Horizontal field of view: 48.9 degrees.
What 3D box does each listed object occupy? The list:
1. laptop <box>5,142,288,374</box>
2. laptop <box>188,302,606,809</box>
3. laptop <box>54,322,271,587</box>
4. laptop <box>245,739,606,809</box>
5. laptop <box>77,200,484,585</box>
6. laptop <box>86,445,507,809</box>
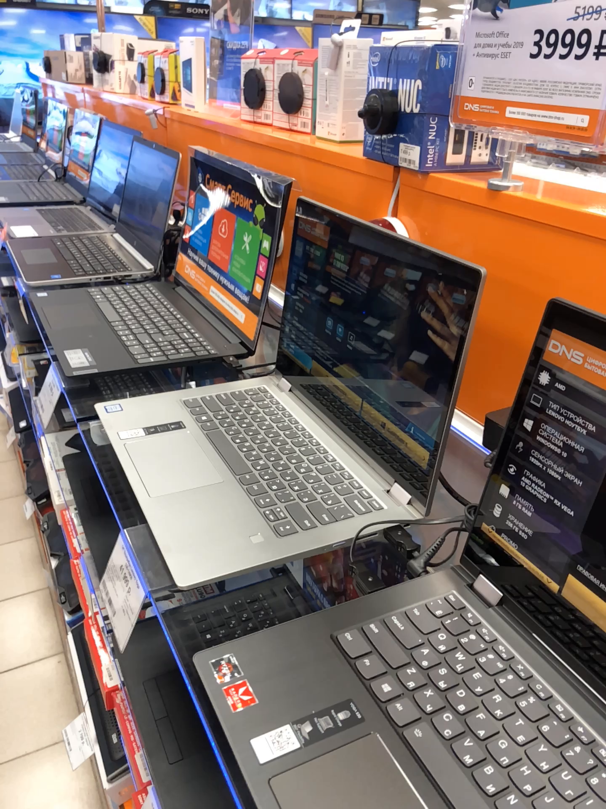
[{"bbox_3d":[-0.222,-0.225,0.928,0.279,0.212,0.306,-12,32,-27],"label":"laptop"},{"bbox_3d":[0.107,0.106,0.309,0.248,0.209,0.291,-10,28,-23],"label":"laptop"},{"bbox_3d":[-0.236,0.050,1.065,0.239,0.235,0.380,-10,28,-23],"label":"laptop"},{"bbox_3d":[0.134,0.407,0.352,0.237,0.213,0.310,-8,26,-23],"label":"laptop"},{"bbox_3d":[-0.048,-0.048,0.611,0.238,0.212,0.316,-10,28,-23],"label":"laptop"},{"bbox_3d":[-0.041,0.238,0.687,0.263,0.207,0.369,-11,28,-24],"label":"laptop"}]
